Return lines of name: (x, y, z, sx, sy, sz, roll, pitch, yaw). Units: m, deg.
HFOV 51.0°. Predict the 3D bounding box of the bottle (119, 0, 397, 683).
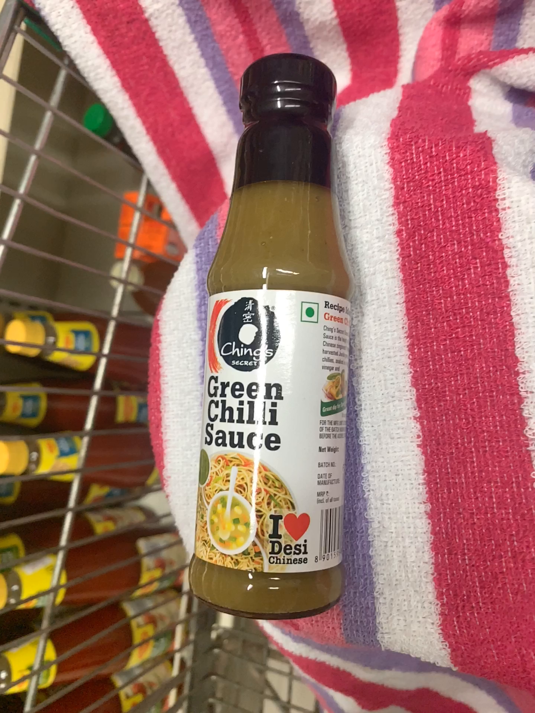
bottle: (0.001, -0.014, 0.159, 0.050, 0.050, 0.170, -1, 82, 34)
